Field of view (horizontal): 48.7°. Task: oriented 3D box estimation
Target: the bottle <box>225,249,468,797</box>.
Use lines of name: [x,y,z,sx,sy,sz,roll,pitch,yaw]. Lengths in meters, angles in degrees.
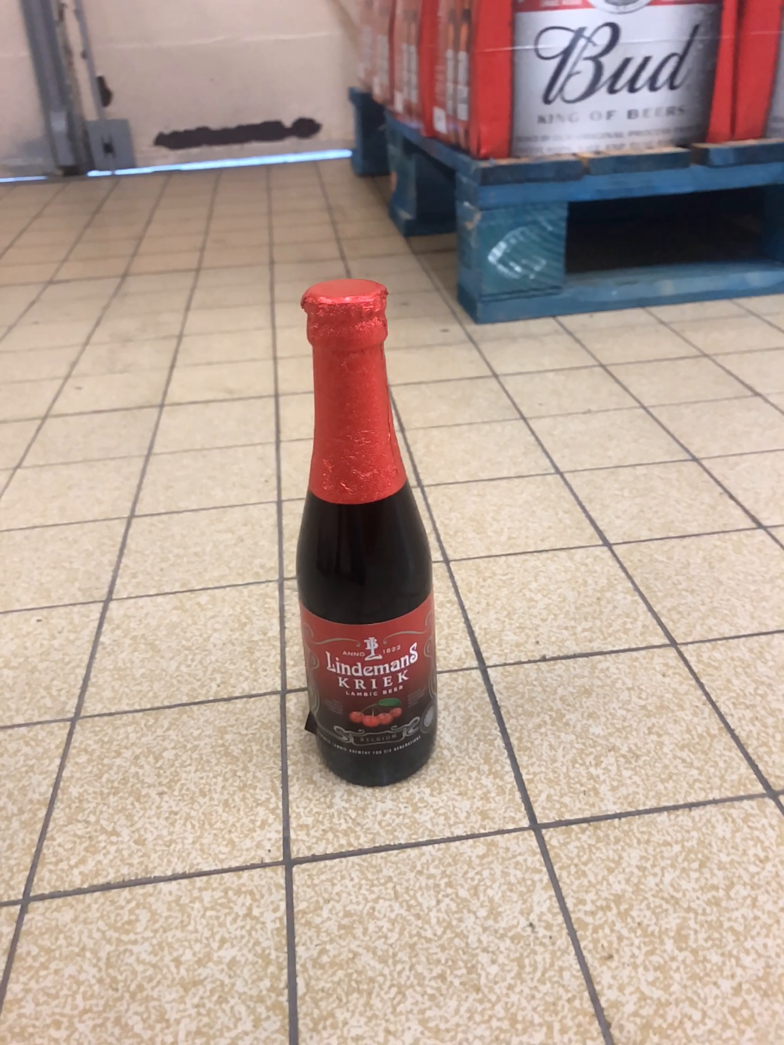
bottle: [-0.011,0.005,0.337,0.070,0.199,0.070,-3,29,1]
